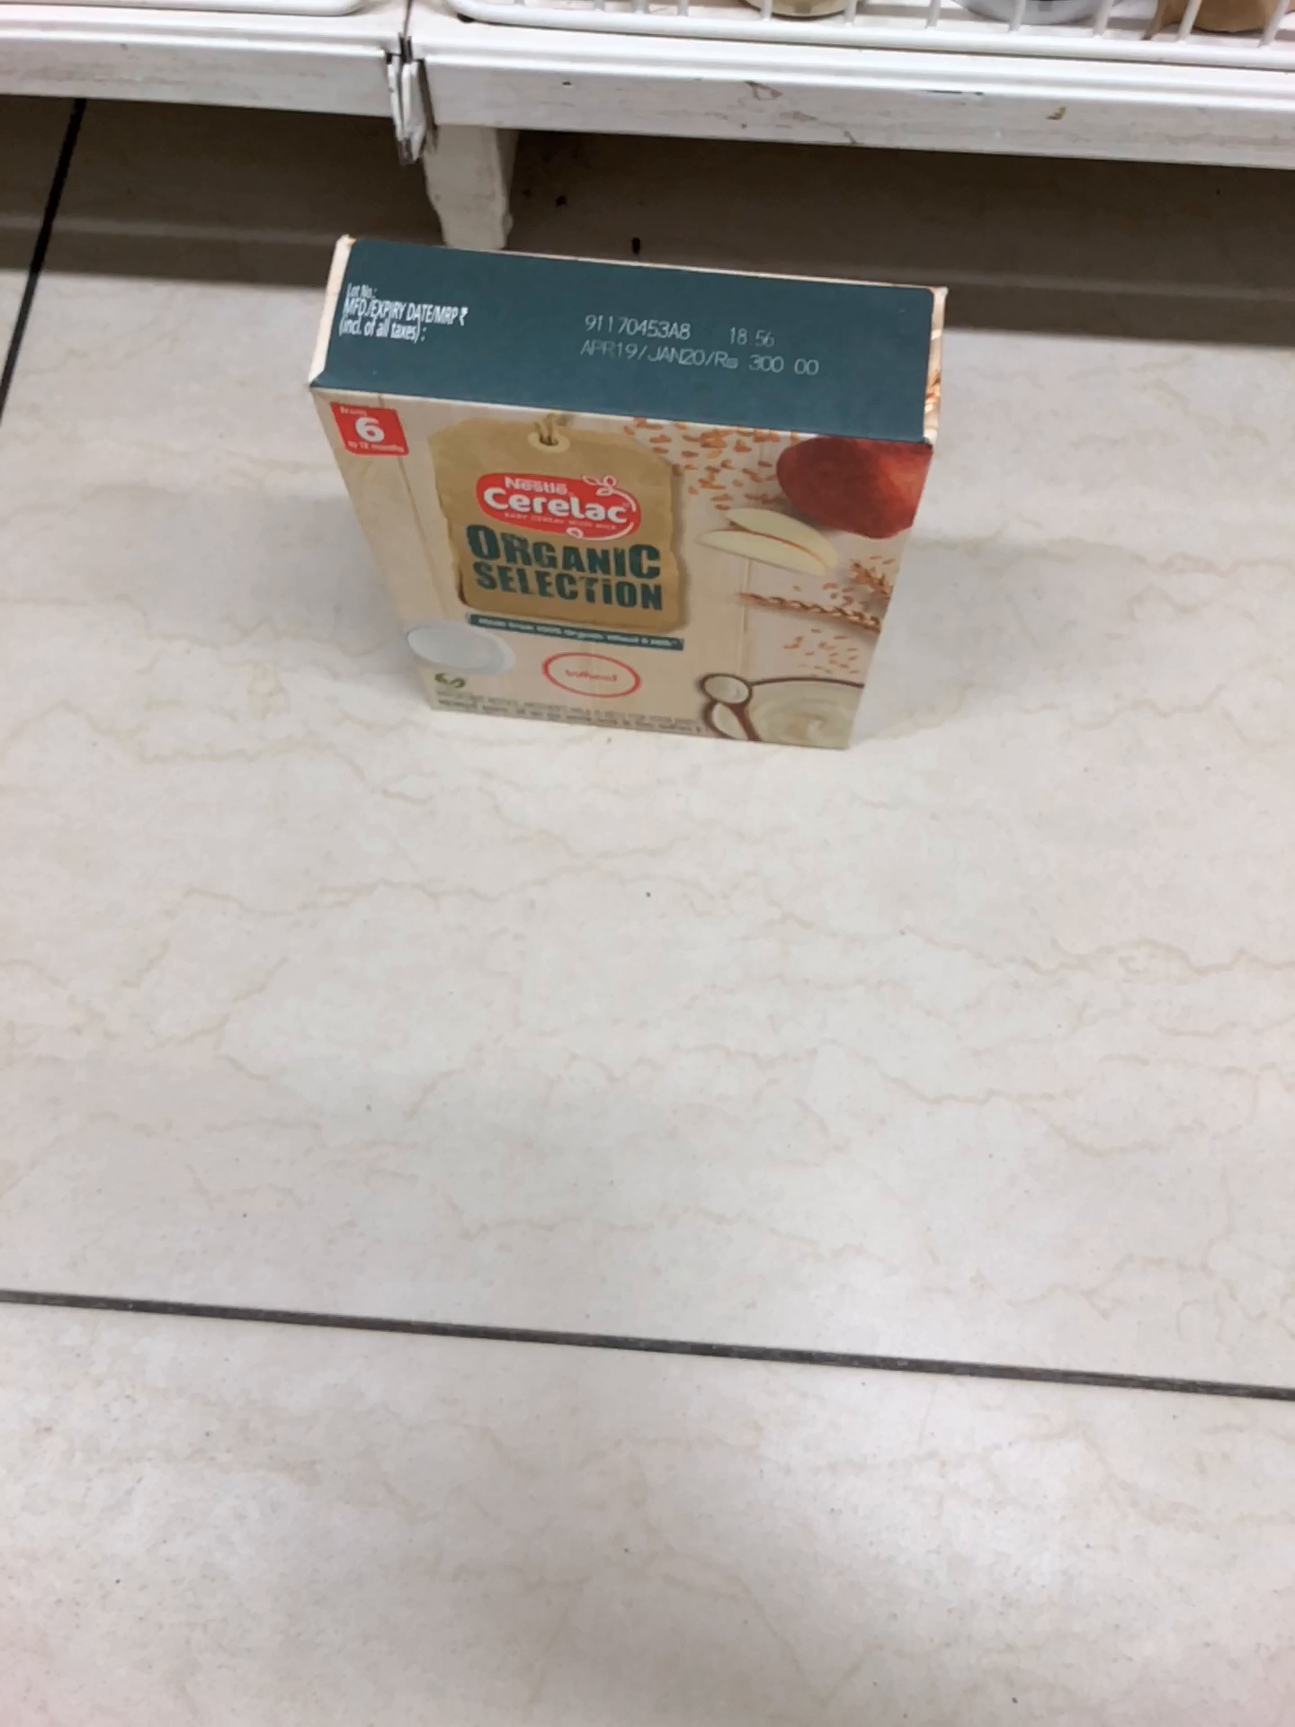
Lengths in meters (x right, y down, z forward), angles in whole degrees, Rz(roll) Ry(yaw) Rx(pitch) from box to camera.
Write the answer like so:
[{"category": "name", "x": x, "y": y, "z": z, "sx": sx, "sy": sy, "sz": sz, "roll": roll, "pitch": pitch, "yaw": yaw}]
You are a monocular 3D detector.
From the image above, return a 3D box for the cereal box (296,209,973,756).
[{"category": "cereal box", "x": -0.001, "y": -0.102, "z": 0.439, "sx": 0.160, "sy": 0.189, "sz": 0.050, "roll": 6, "pitch": 71, "yaw": 2}]
